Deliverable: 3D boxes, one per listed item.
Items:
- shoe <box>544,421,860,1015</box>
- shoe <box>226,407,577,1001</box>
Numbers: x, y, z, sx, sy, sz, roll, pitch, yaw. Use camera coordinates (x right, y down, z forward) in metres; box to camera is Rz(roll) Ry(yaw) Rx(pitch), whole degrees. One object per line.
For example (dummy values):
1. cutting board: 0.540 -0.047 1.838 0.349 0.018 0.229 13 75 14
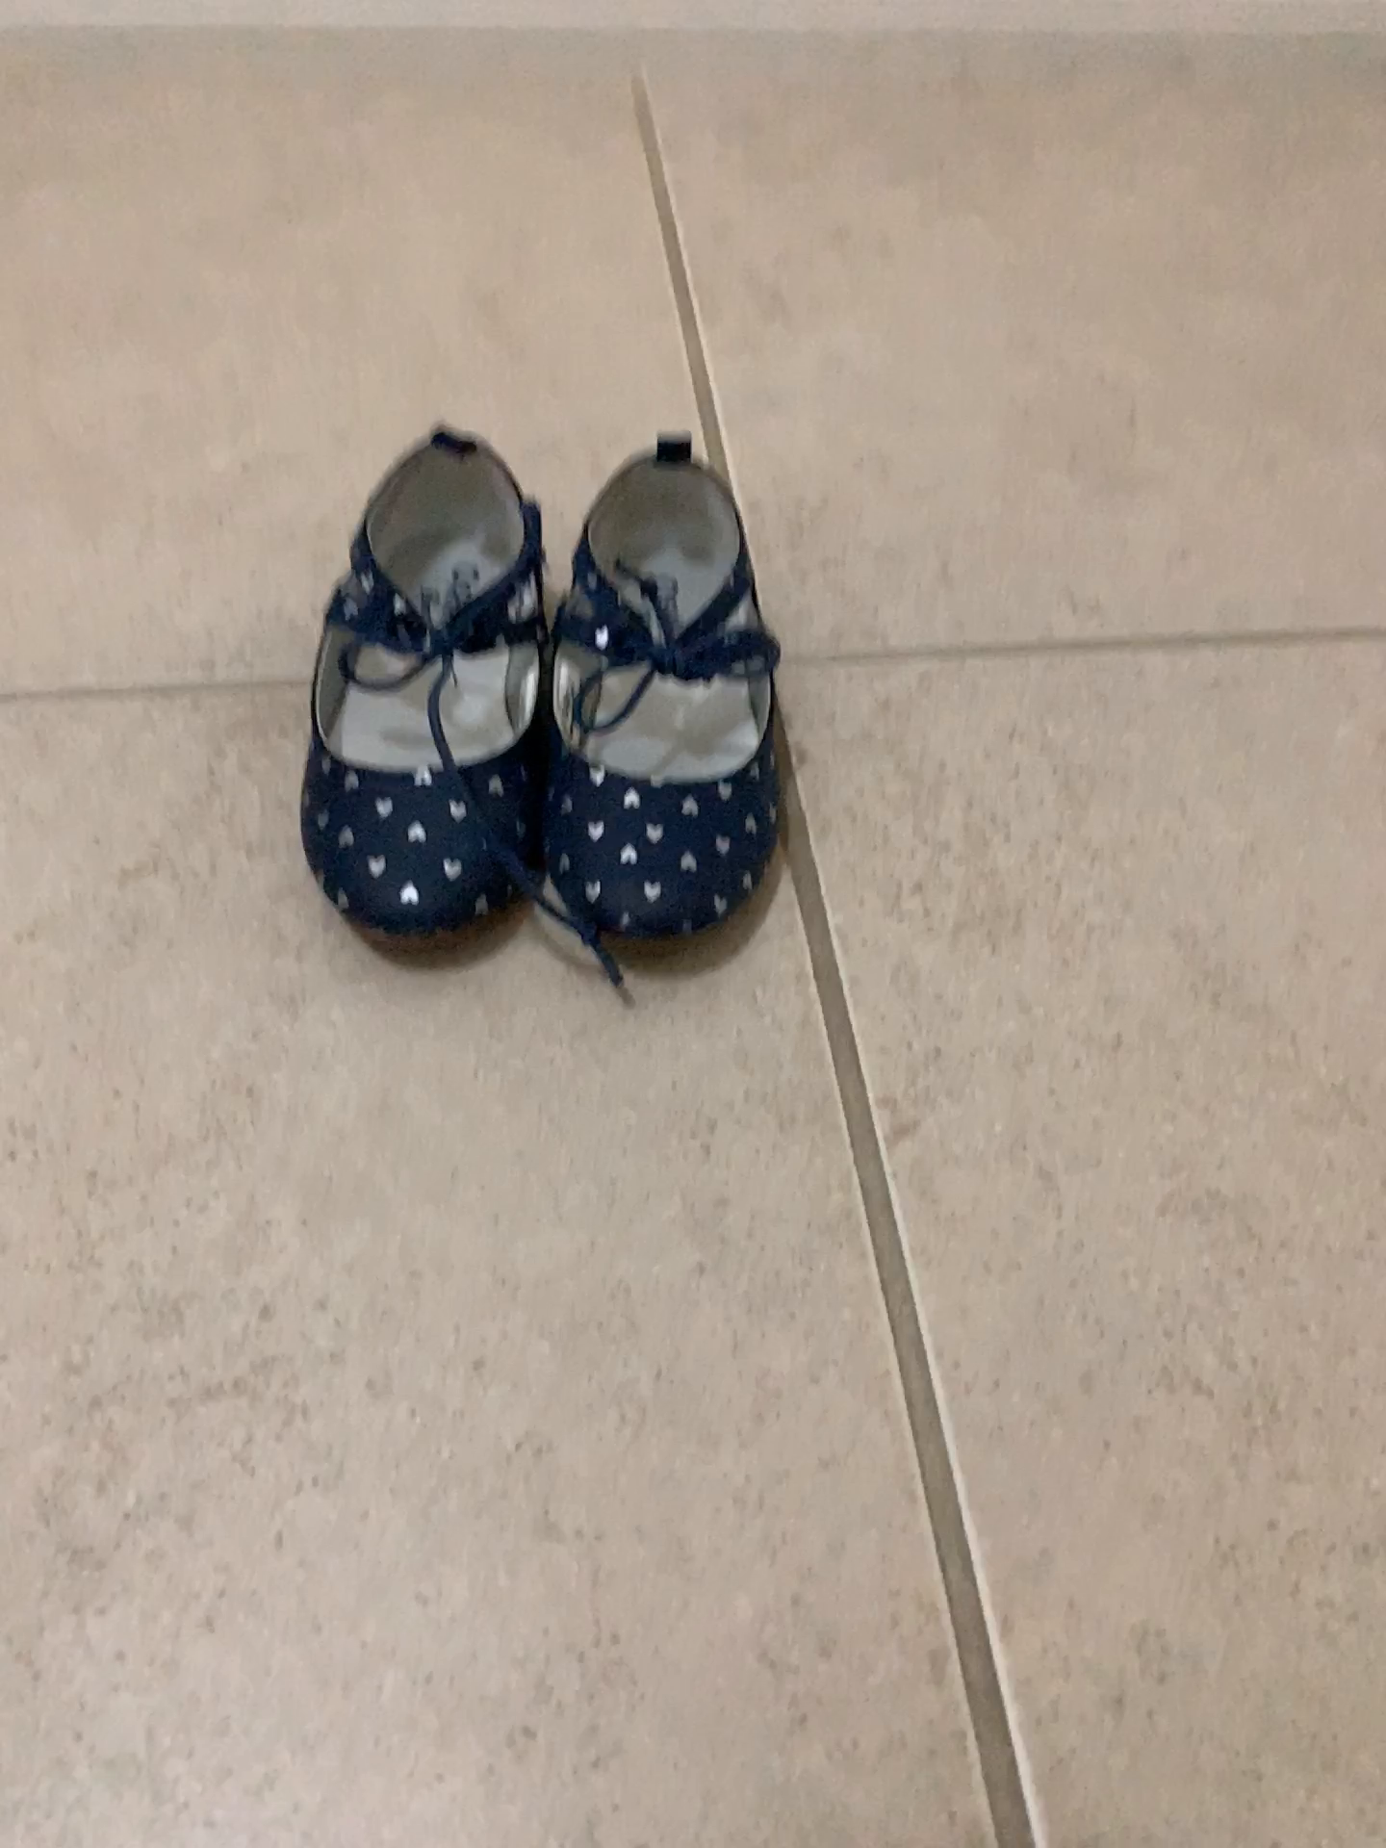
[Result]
1. shoe: -0.001 -0.063 0.395 0.070 0.061 0.172 1 51 -3
2. shoe: -0.071 -0.067 0.395 0.070 0.061 0.172 1 51 -3
